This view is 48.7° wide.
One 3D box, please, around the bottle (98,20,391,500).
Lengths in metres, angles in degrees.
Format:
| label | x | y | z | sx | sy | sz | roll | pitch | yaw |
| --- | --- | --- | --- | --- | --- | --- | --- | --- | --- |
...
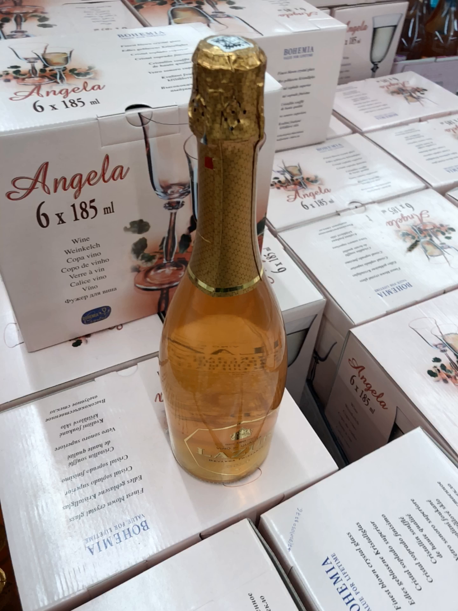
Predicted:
| label | x | y | z | sx | sy | sz | roll | pitch | yaw |
| --- | --- | --- | --- | --- | --- | --- | --- | --- | --- |
| bottle | -0.008 | 0.003 | 0.313 | 0.100 | 0.298 | 0.090 | -8 | 47 | -12 |
